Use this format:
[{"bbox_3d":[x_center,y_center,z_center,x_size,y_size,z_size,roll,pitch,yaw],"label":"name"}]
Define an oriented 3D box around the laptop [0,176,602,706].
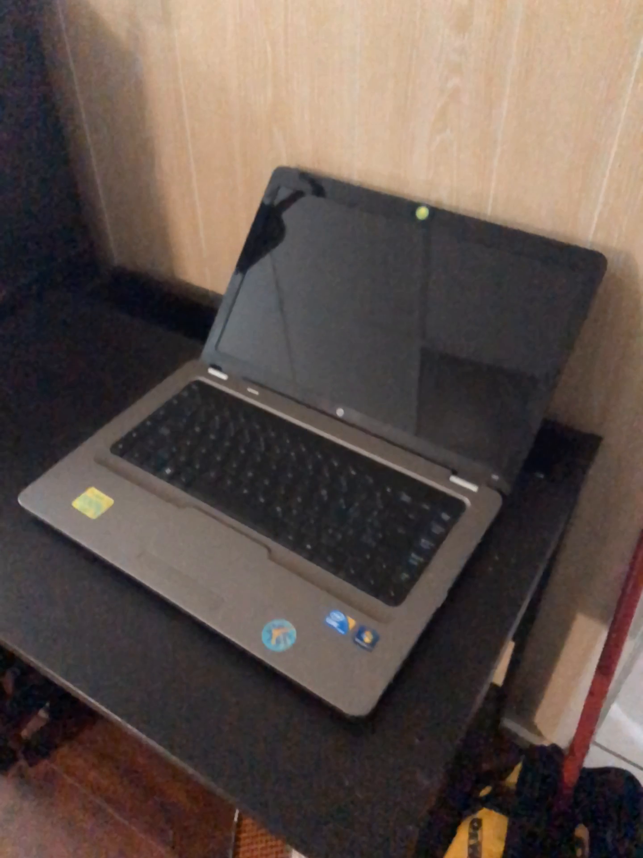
[{"bbox_3d":[-0.011,-0.043,0.640,0.356,0.166,0.403,23,47,26],"label":"laptop"}]
